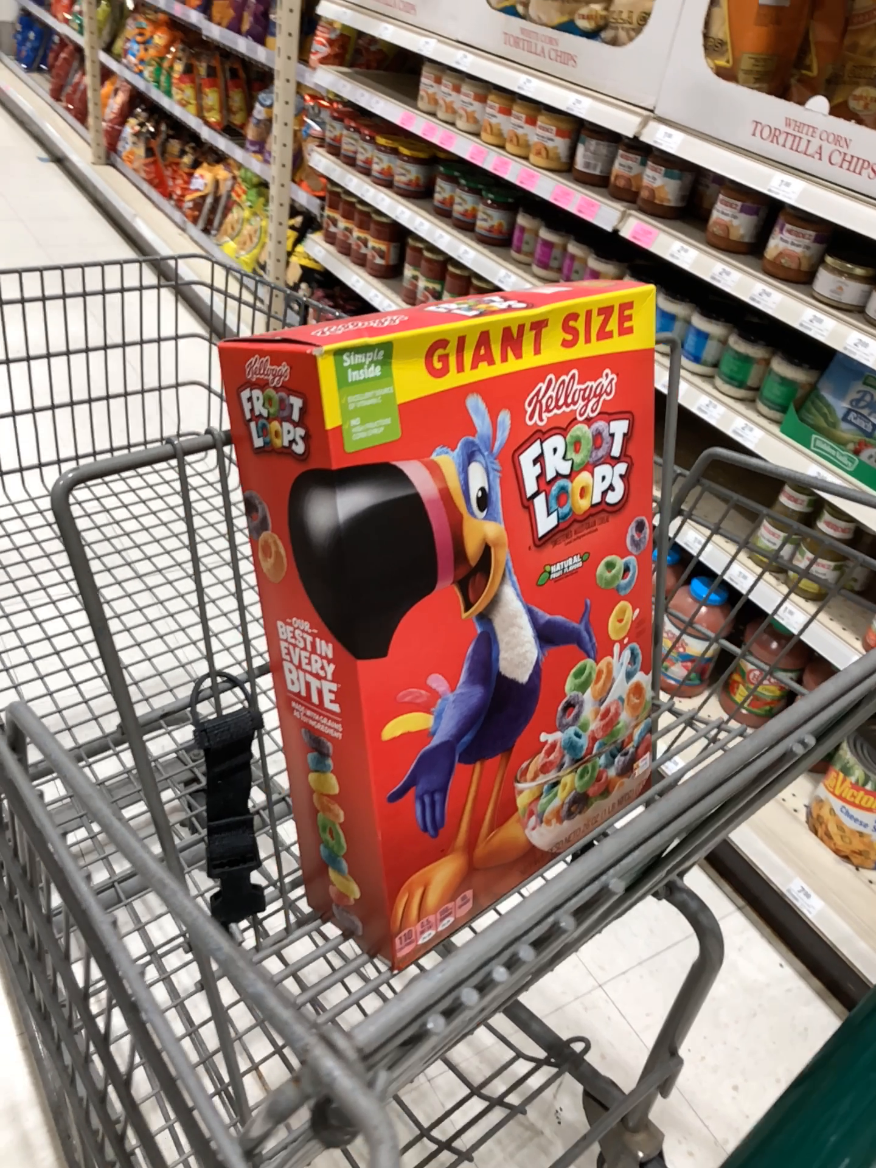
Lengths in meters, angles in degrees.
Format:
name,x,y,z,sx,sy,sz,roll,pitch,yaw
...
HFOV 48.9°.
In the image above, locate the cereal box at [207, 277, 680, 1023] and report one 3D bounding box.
name,x,y,z,sx,sy,sz,roll,pitch,yaw
cereal box,0.028,0.022,0.578,0.261,0.369,0.090,-21,26,-37
